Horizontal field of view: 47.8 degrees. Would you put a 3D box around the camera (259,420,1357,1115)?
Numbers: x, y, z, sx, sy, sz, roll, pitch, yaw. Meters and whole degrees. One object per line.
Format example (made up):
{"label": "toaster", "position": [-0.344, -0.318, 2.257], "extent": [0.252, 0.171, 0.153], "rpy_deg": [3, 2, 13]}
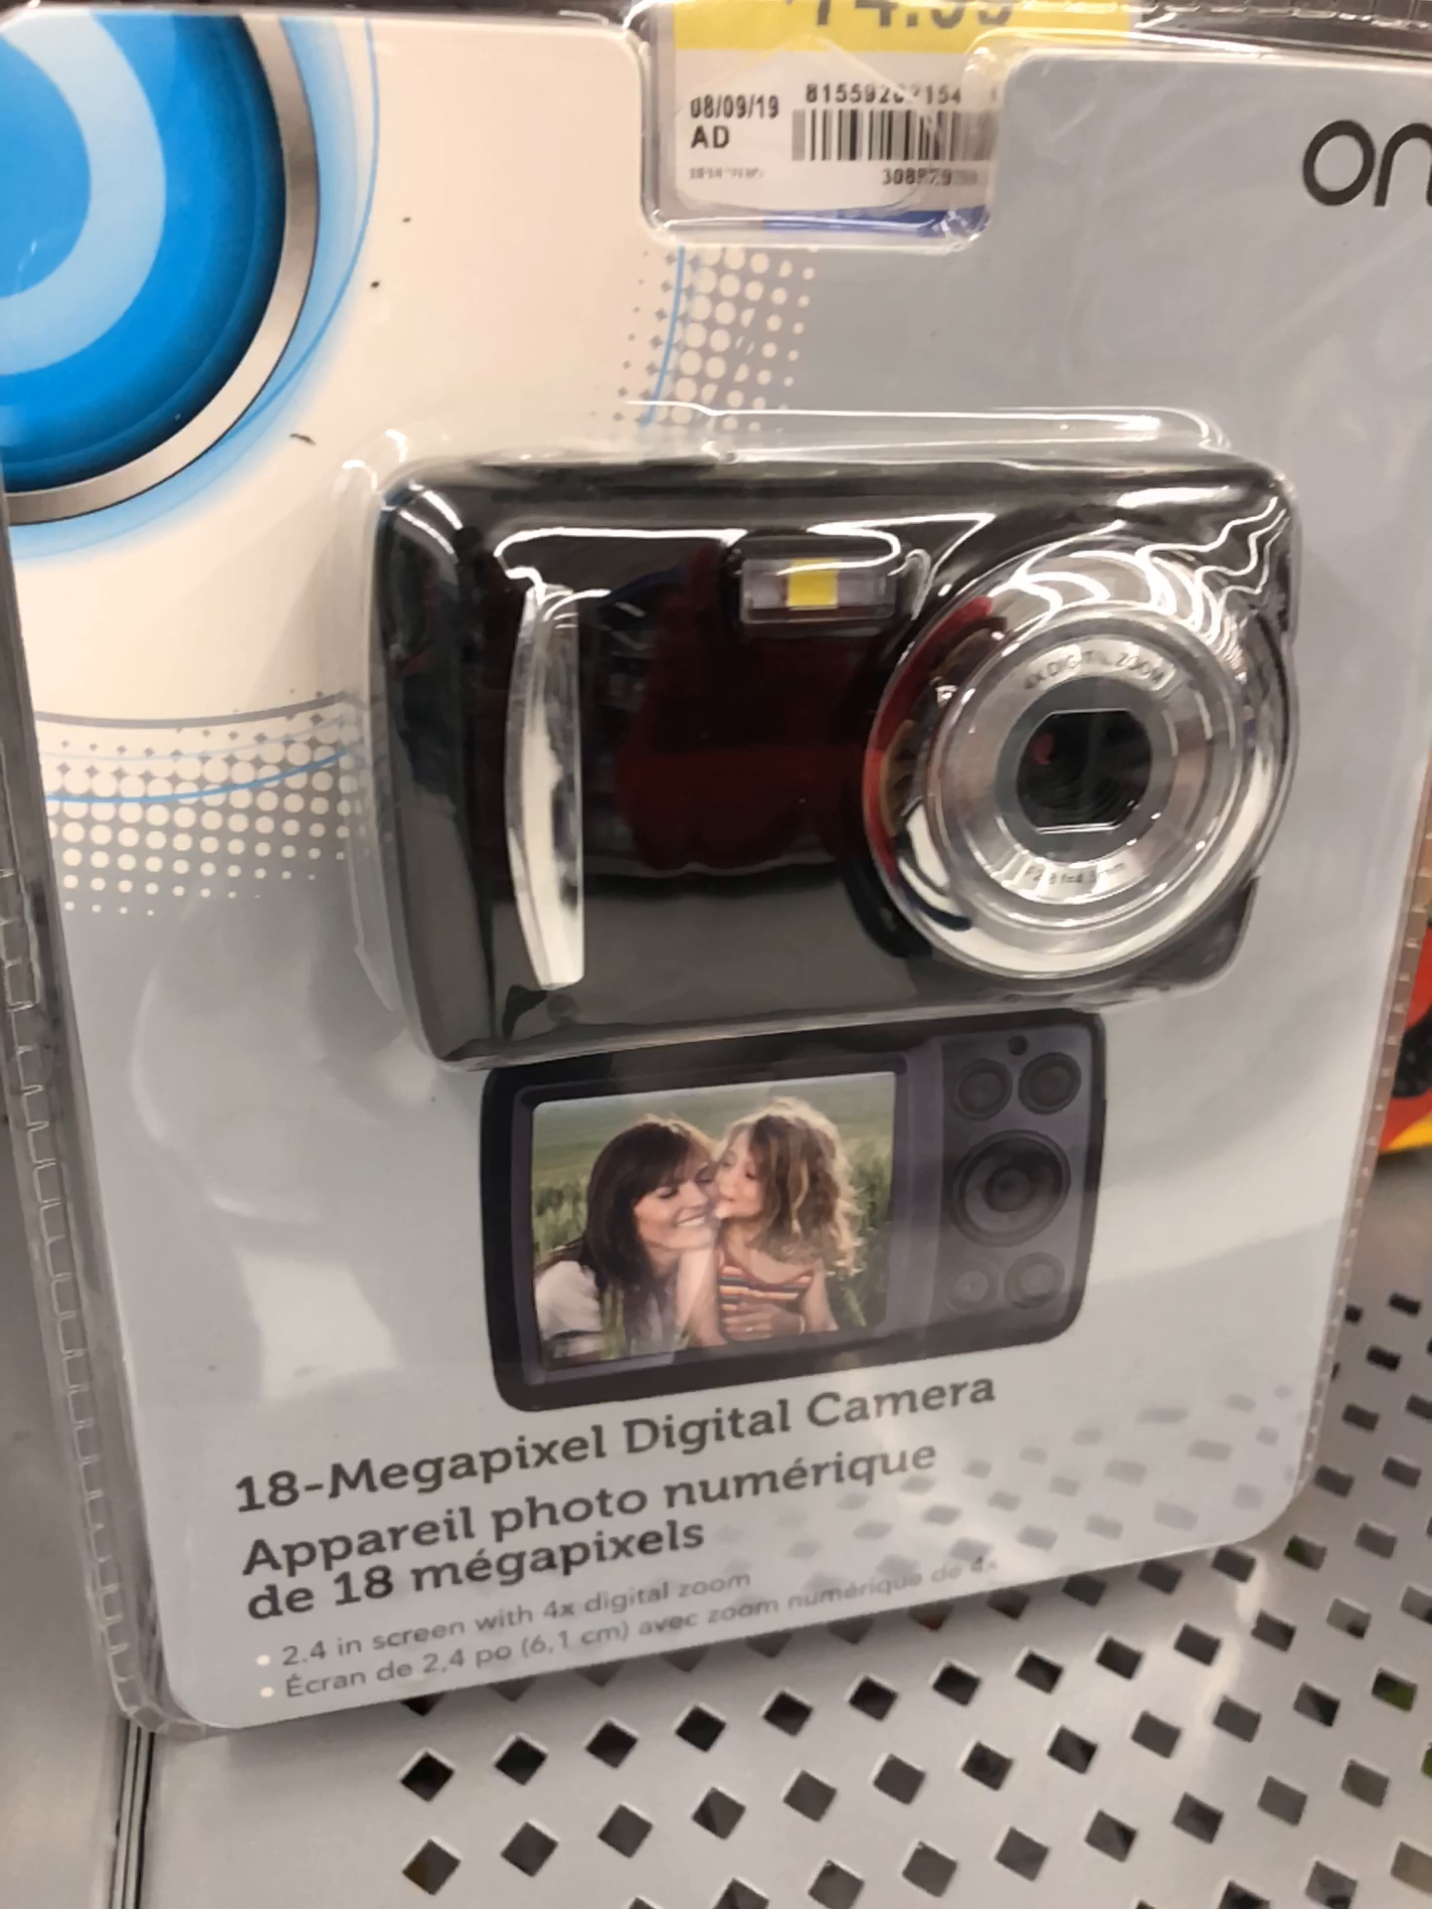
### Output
{"label": "camera", "position": [0.008, -0.022, 0.167], "extent": [0.100, 0.060, 0.030], "rpy_deg": [-5, 25, -12]}
